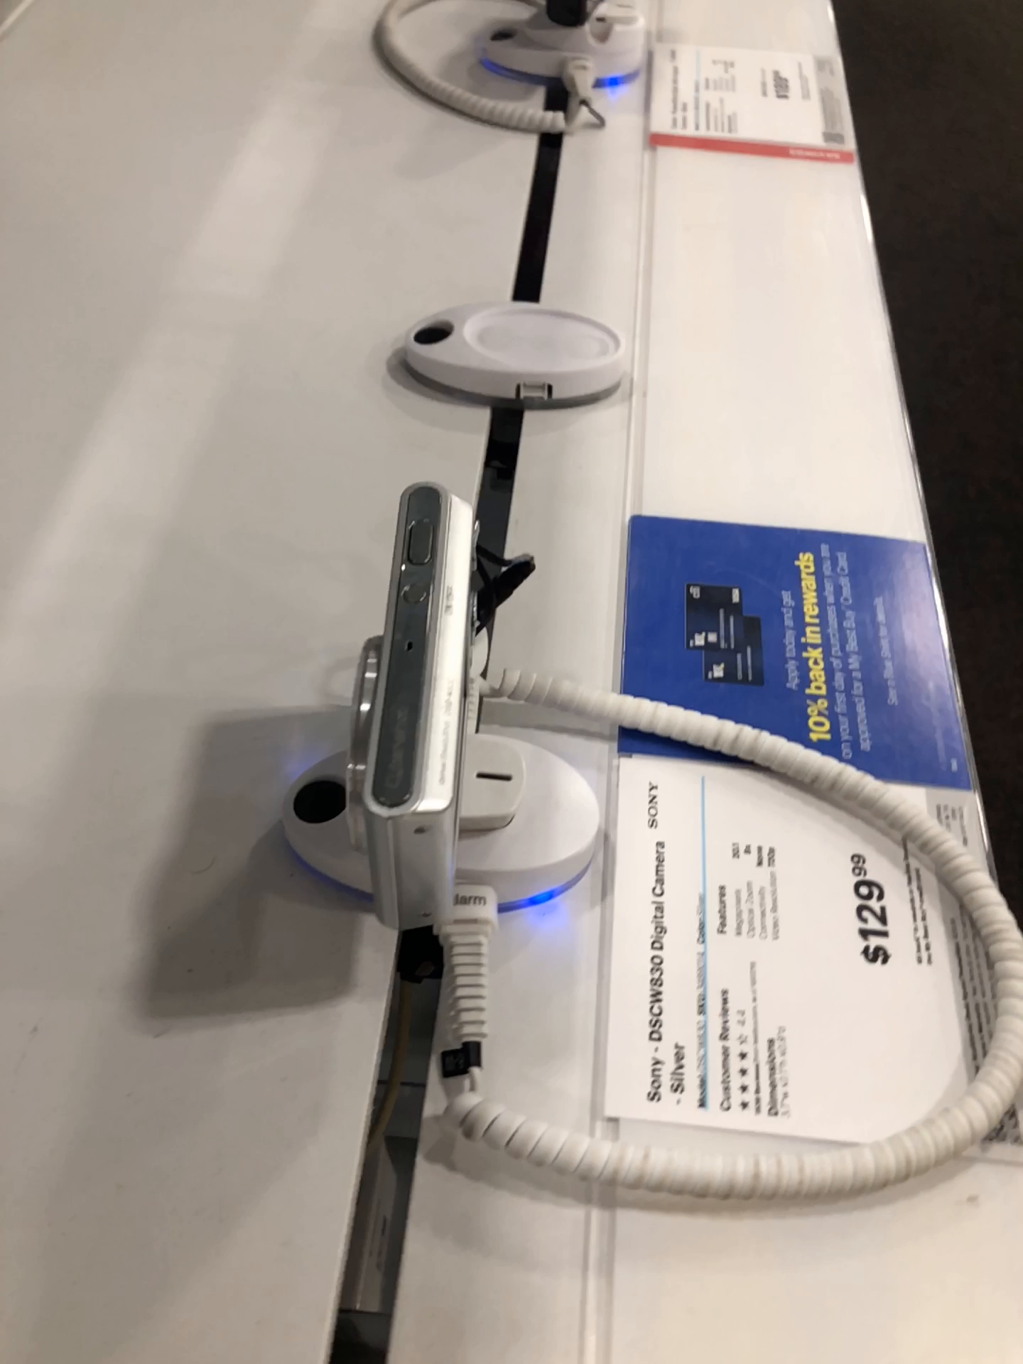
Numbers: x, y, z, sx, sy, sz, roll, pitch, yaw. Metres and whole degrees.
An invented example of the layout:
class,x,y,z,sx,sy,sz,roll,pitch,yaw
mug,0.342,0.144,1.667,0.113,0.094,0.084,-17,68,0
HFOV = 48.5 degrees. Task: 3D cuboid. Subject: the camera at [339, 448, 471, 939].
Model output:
class,x,y,z,sx,sy,sz,roll,pitch,yaw
camera,-0.022,0.002,0.265,0.020,0.070,0.090,2,51,0
